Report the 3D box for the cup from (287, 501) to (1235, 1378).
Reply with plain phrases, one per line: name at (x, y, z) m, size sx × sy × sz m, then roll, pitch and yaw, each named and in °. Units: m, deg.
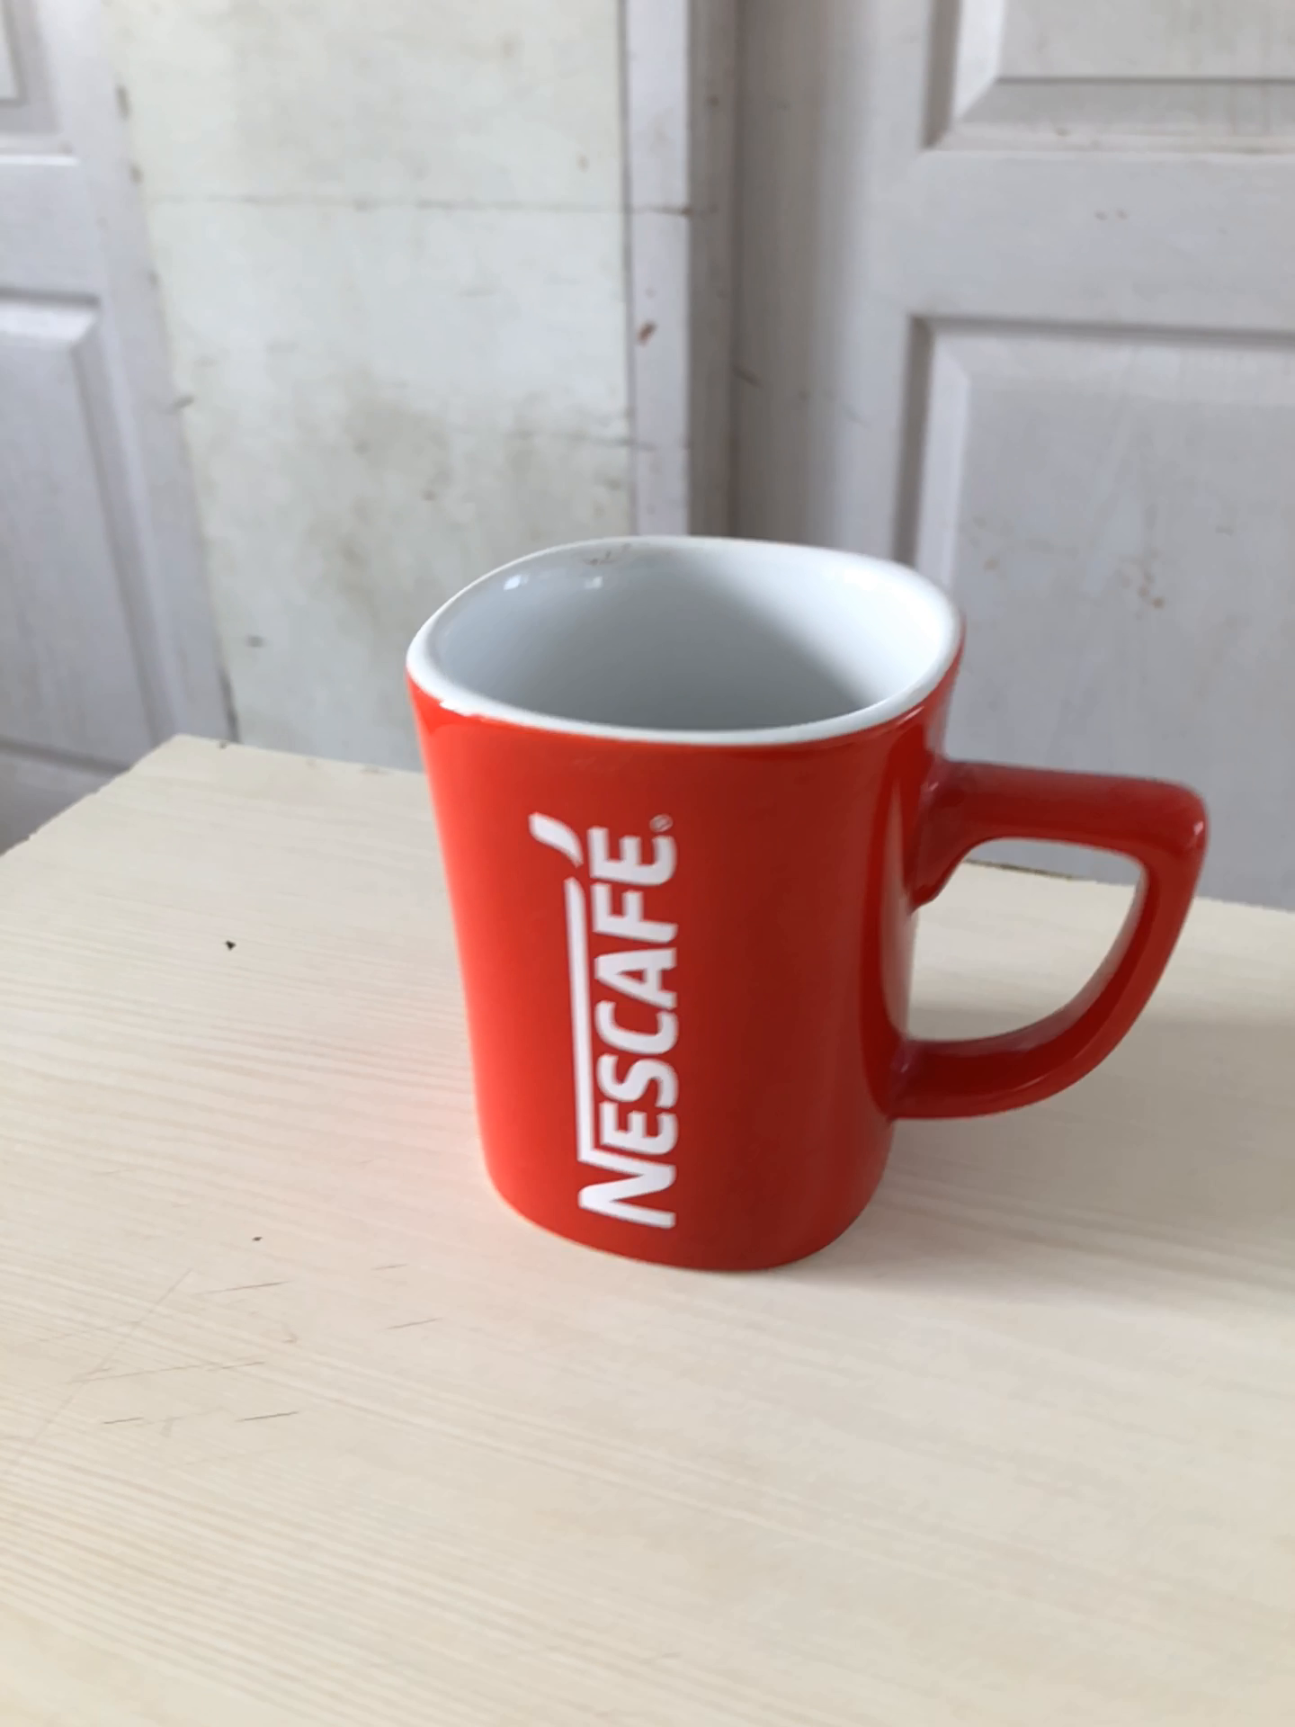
cup at (0.021, 0.004, 0.220) m, size 0.110 × 0.089 × 0.081 m, roll 7°, pitch 31°, yaw 15°
